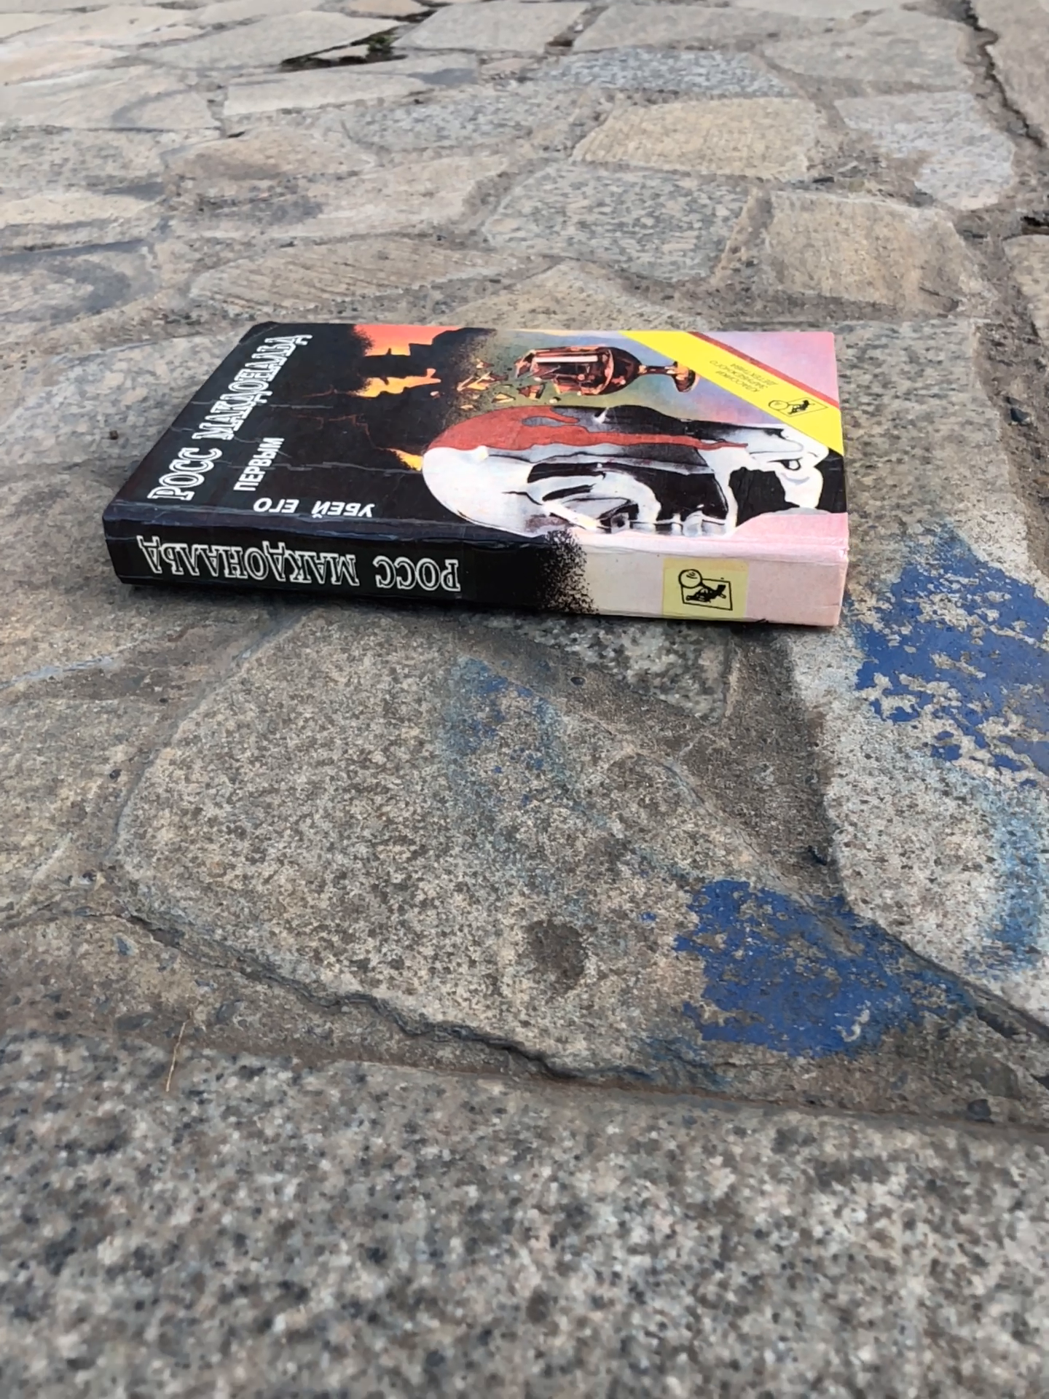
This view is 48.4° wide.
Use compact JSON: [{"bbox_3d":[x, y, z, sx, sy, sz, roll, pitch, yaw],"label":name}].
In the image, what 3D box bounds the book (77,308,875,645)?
[{"bbox_3d":[-0.007,-0.078,0.364,0.210,0.030,0.141,4,41,8],"label":"book"}]
